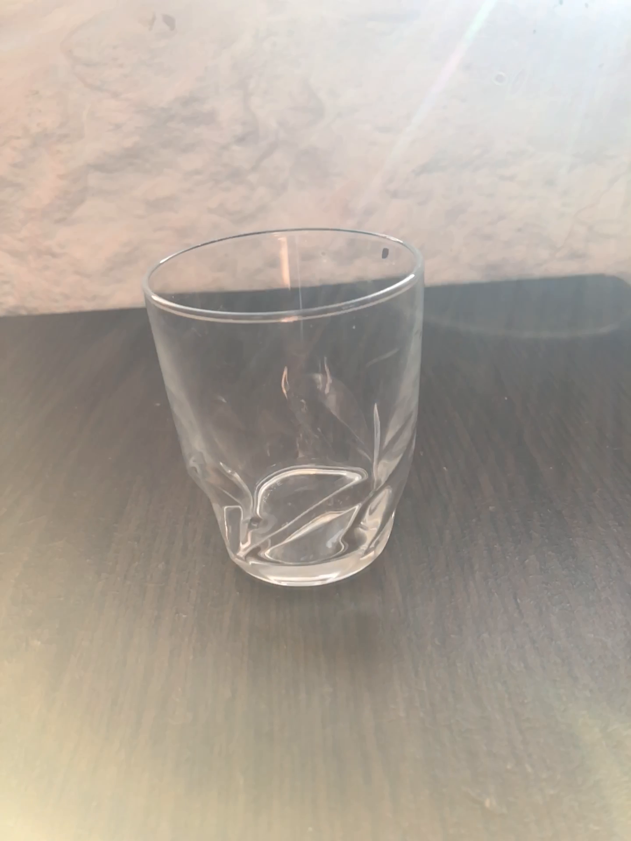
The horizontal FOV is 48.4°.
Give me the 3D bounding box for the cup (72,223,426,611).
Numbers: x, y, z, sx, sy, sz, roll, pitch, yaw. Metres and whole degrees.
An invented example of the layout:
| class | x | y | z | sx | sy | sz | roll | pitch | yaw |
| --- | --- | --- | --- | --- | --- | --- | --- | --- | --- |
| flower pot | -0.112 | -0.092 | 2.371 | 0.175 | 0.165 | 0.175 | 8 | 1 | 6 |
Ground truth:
| class | x | y | z | sx | sy | sz | roll | pitch | yaw |
| --- | --- | --- | --- | --- | --- | --- | --- | --- | --- |
| cup | -0.012 | -0.004 | 0.206 | 0.078 | 0.085 | 0.075 | -3 | 28 | 2 |
